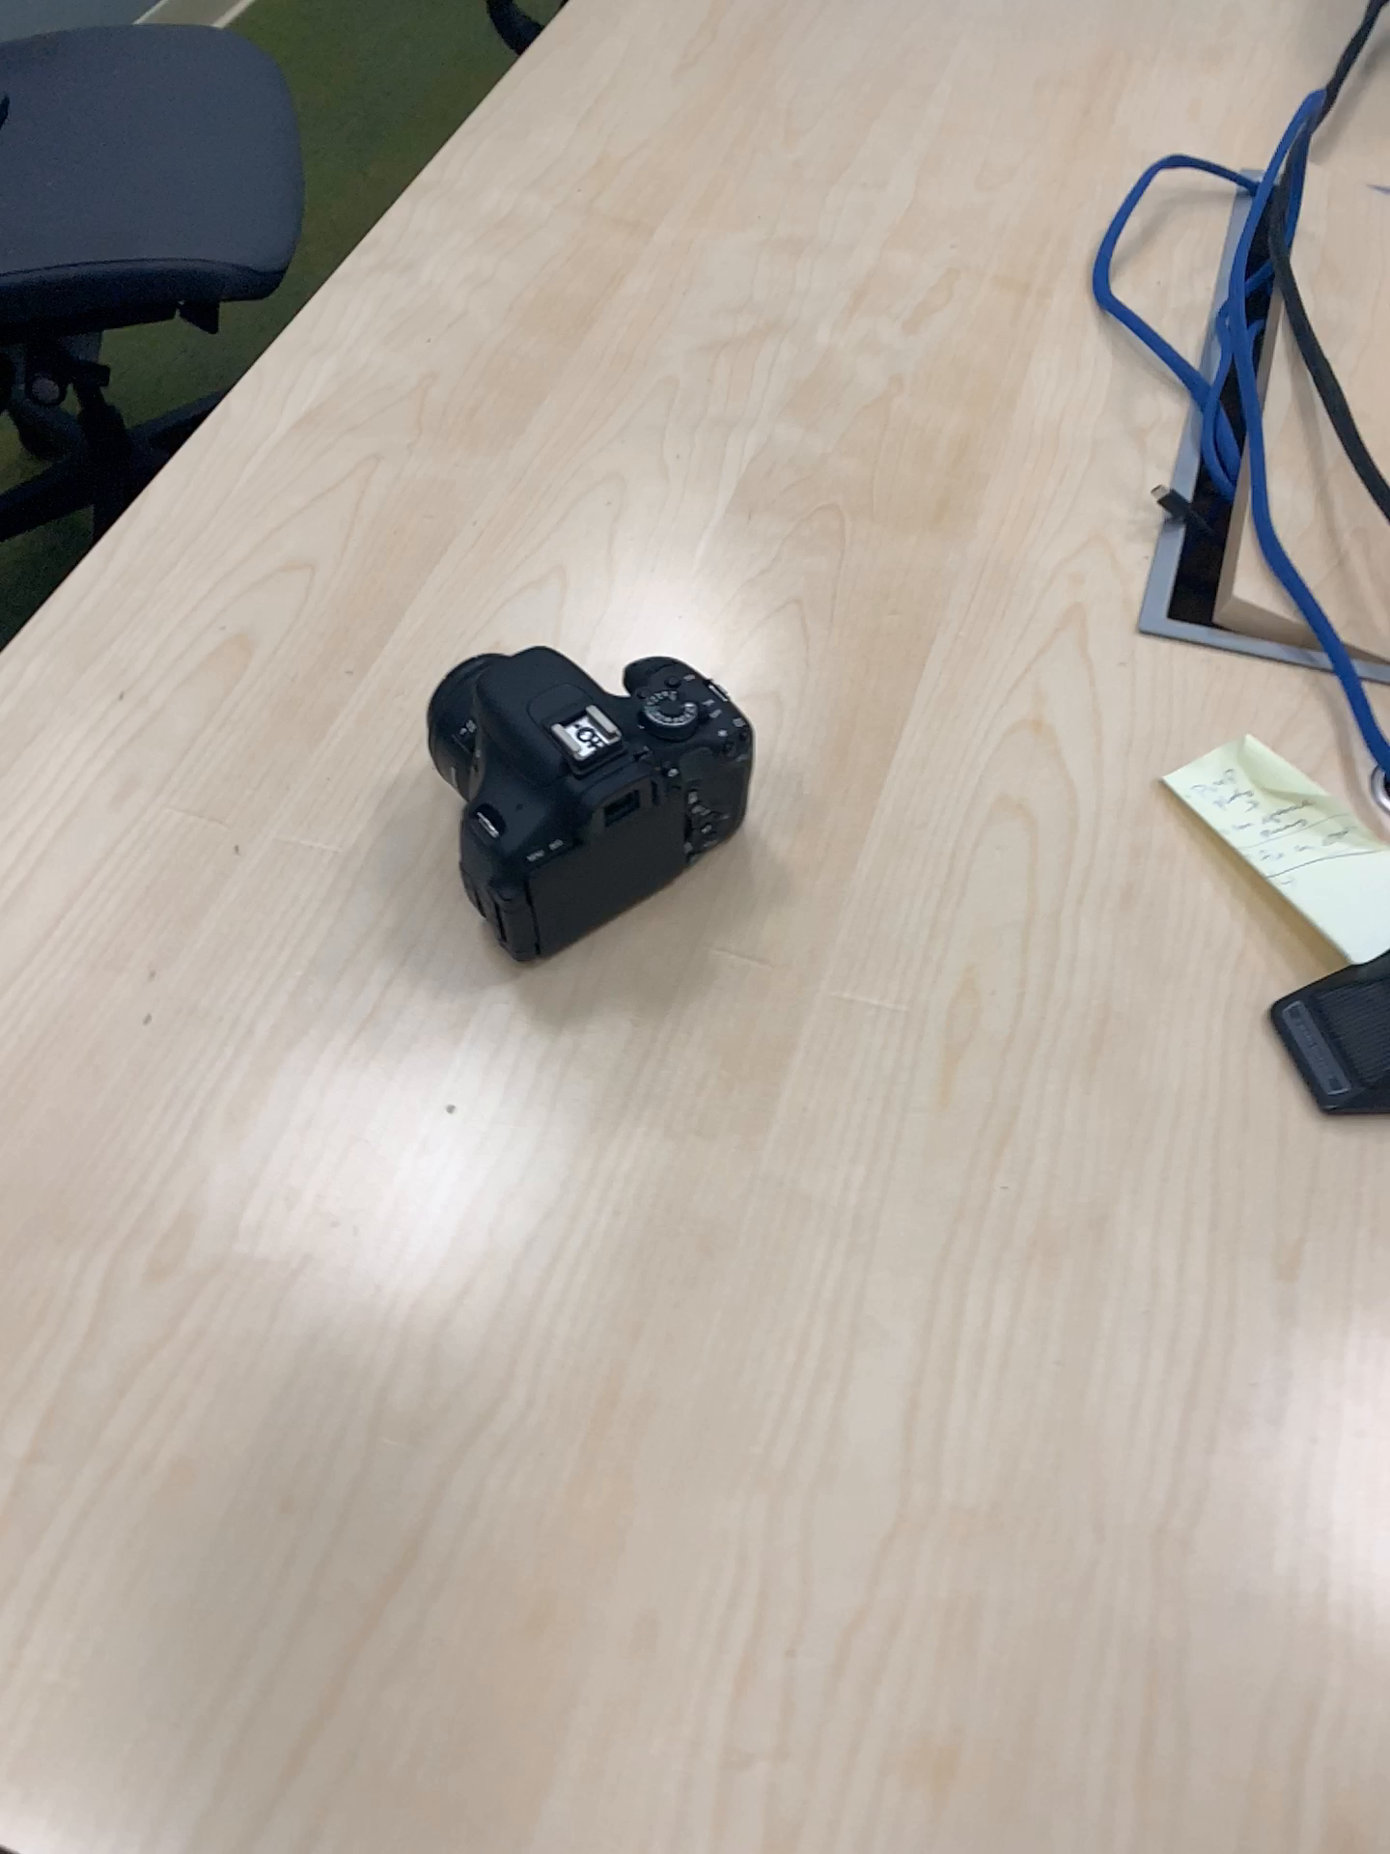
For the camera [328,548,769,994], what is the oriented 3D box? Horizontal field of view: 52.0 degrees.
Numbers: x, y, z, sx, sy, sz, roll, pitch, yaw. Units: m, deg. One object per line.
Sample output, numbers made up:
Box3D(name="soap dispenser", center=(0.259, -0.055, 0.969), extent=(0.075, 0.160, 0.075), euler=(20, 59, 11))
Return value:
Box3D(name="camera", center=(-0.060, -0.070, 0.612), extent=(0.129, 0.085, 0.128), euler=(-33, 59, -21))
